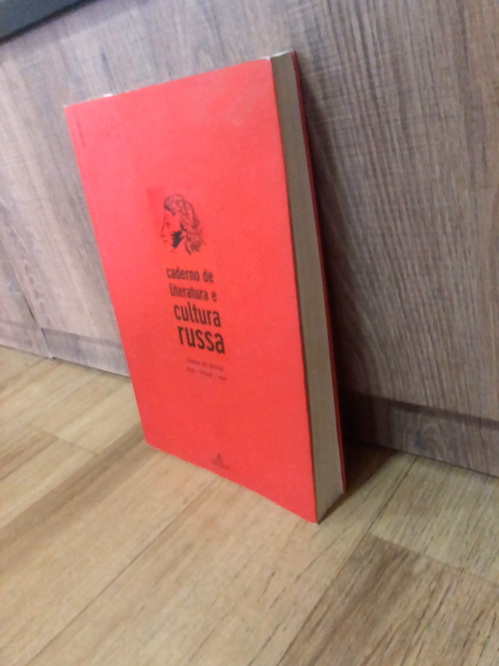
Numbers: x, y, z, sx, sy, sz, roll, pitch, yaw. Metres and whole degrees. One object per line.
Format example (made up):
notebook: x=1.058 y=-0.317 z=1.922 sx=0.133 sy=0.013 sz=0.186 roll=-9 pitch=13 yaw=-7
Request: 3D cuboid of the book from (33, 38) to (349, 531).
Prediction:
book: x=-0.040 y=-0.025 z=0.343 sx=0.188 sy=0.249 sz=0.040 roll=10 pitch=27 yaw=43
